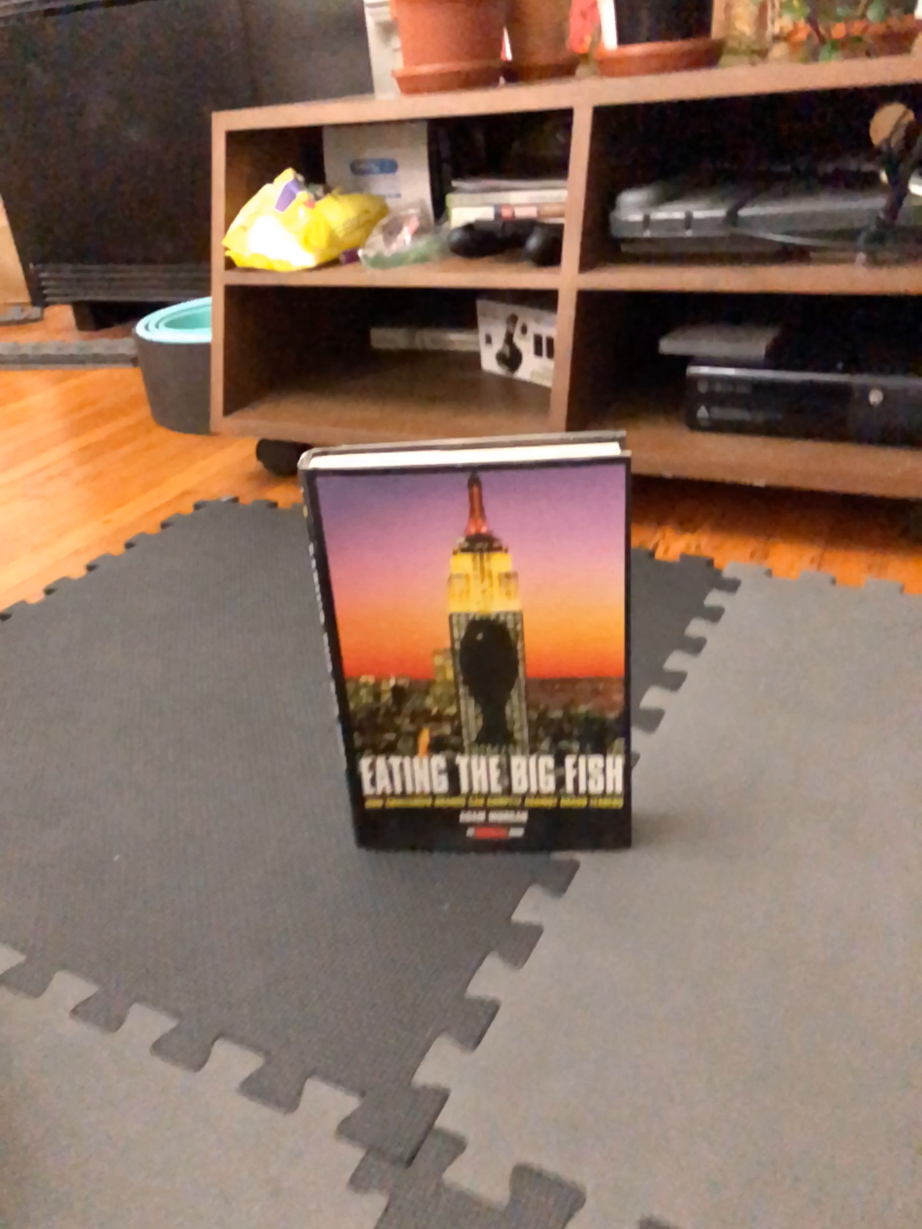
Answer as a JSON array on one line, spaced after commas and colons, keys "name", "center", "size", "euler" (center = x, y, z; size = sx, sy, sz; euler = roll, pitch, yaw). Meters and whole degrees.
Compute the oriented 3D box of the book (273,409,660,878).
[{"name": "book", "center": [0.013, 0.027, 0.557], "size": [0.180, 0.259, 0.050], "euler": [-3, 29, 5]}]
